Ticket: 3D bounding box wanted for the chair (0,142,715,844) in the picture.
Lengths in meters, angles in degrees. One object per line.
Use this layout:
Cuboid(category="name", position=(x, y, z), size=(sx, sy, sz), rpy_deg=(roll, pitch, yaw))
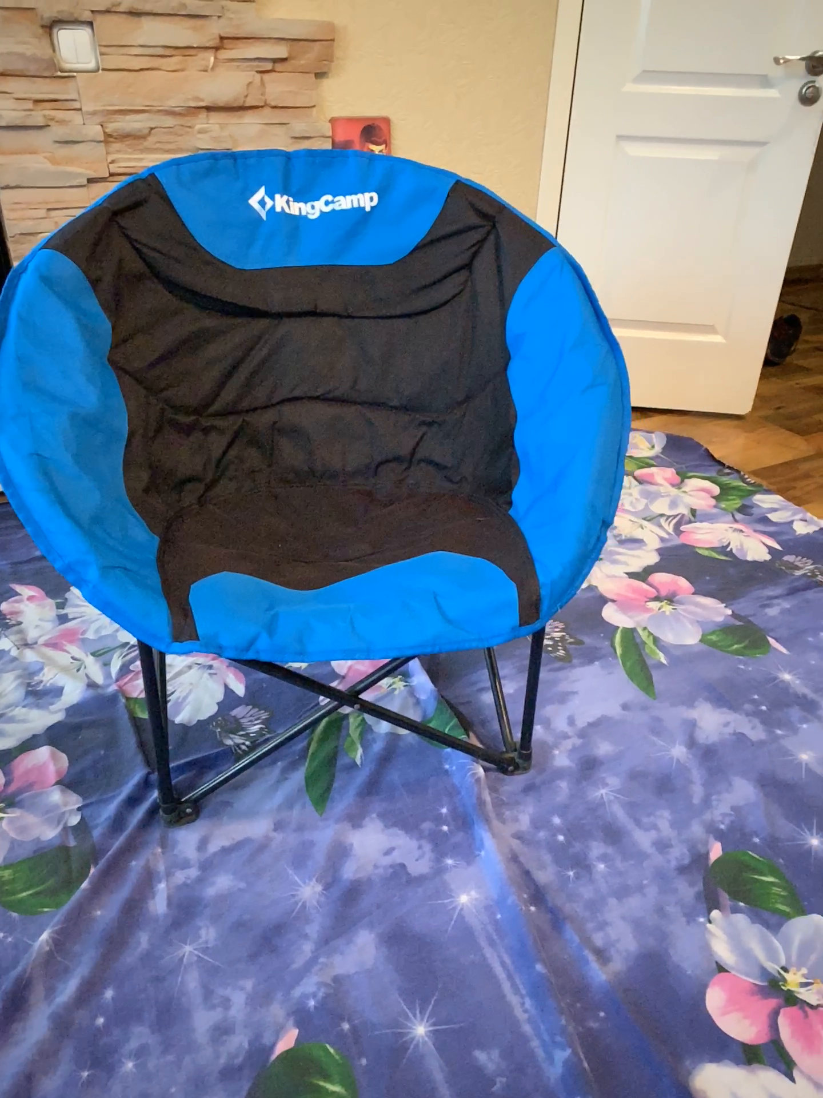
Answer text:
Cuboid(category="chair", position=(-0.135, -0.132, 1.227), size=(0.760, 0.772, 0.613), rpy_deg=(-4, 30, -10))
